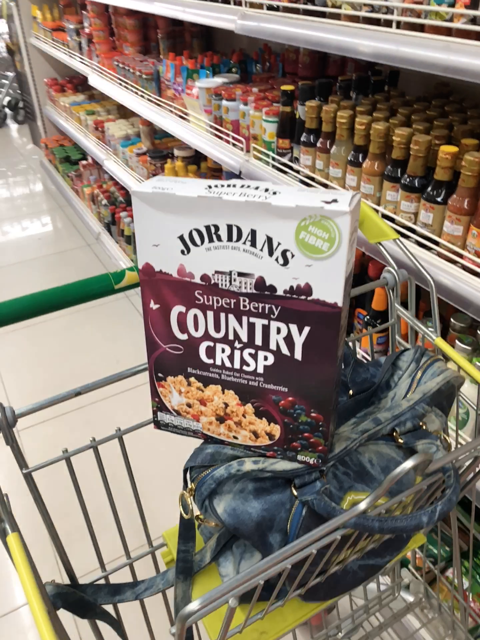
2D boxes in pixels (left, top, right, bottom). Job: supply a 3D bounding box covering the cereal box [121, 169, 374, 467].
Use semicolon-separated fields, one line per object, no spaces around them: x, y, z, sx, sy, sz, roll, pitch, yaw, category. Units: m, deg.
0.004;0.002;0.447;0.180;0.229;0.050;9;29;14;cereal box
